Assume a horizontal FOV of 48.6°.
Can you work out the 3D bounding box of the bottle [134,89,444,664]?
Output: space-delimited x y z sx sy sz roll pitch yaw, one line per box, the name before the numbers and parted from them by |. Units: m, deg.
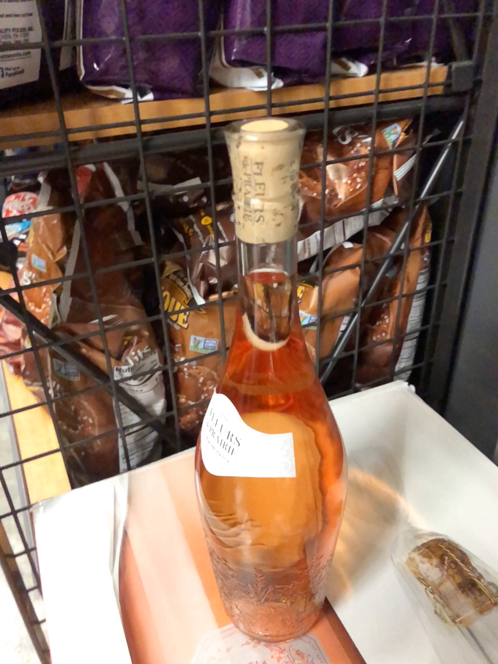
bottle | 0.018 0.042 0.289 0.090 0.299 0.080 -20 35 -28
